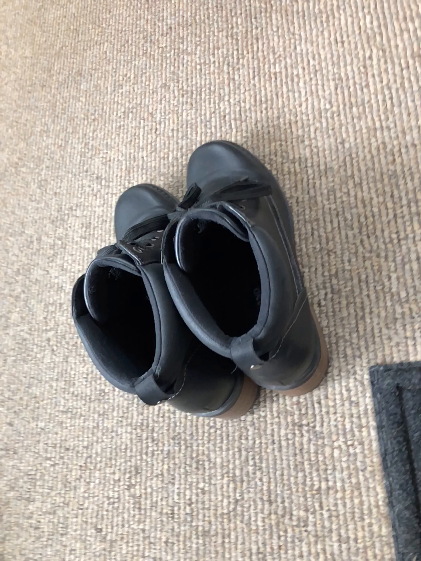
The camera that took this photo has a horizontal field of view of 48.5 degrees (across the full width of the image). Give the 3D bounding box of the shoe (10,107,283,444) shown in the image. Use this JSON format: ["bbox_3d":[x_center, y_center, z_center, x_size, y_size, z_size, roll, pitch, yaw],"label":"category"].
[{"bbox_3d":[-0.060,0.001,0.436,0.097,0.166,0.267,-34,62,13],"label":"shoe"}]

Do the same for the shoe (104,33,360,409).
[{"bbox_3d":[0.018,-0.041,0.406,0.094,0.162,0.273,-25,64,17],"label":"shoe"}]
